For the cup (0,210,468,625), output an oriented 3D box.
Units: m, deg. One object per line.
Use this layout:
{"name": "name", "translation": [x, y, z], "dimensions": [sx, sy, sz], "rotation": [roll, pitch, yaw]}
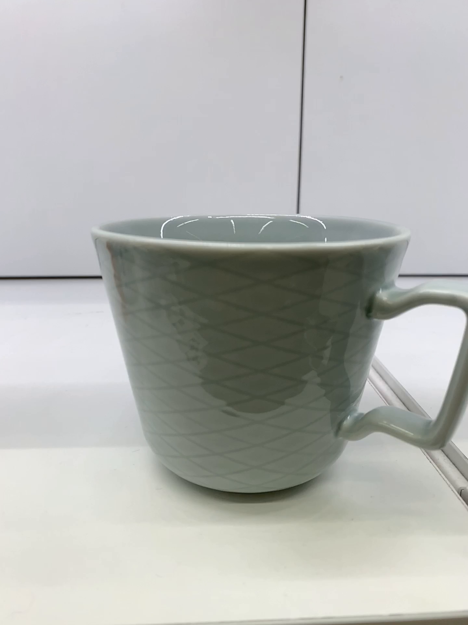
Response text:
{"name": "cup", "translation": [0.009, 0.012, 0.172], "dimensions": [0.124, 0.089, 0.109], "rotation": [8, 16, 31]}
